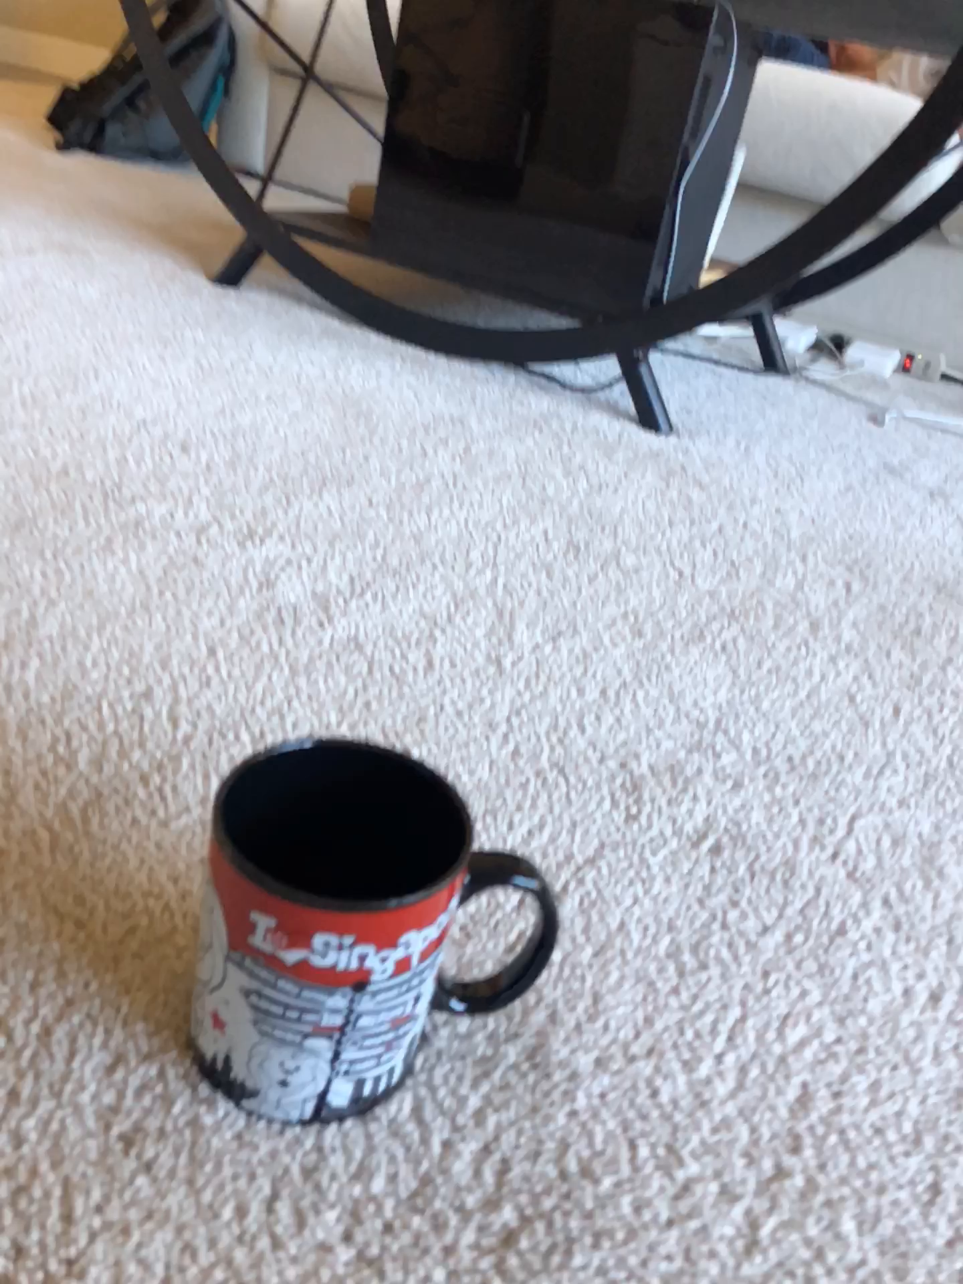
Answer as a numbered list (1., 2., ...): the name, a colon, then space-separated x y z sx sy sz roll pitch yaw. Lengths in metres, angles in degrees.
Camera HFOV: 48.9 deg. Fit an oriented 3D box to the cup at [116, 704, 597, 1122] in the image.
1. cup: -0.044 0.089 0.351 0.130 0.090 0.090 6 28 -11
